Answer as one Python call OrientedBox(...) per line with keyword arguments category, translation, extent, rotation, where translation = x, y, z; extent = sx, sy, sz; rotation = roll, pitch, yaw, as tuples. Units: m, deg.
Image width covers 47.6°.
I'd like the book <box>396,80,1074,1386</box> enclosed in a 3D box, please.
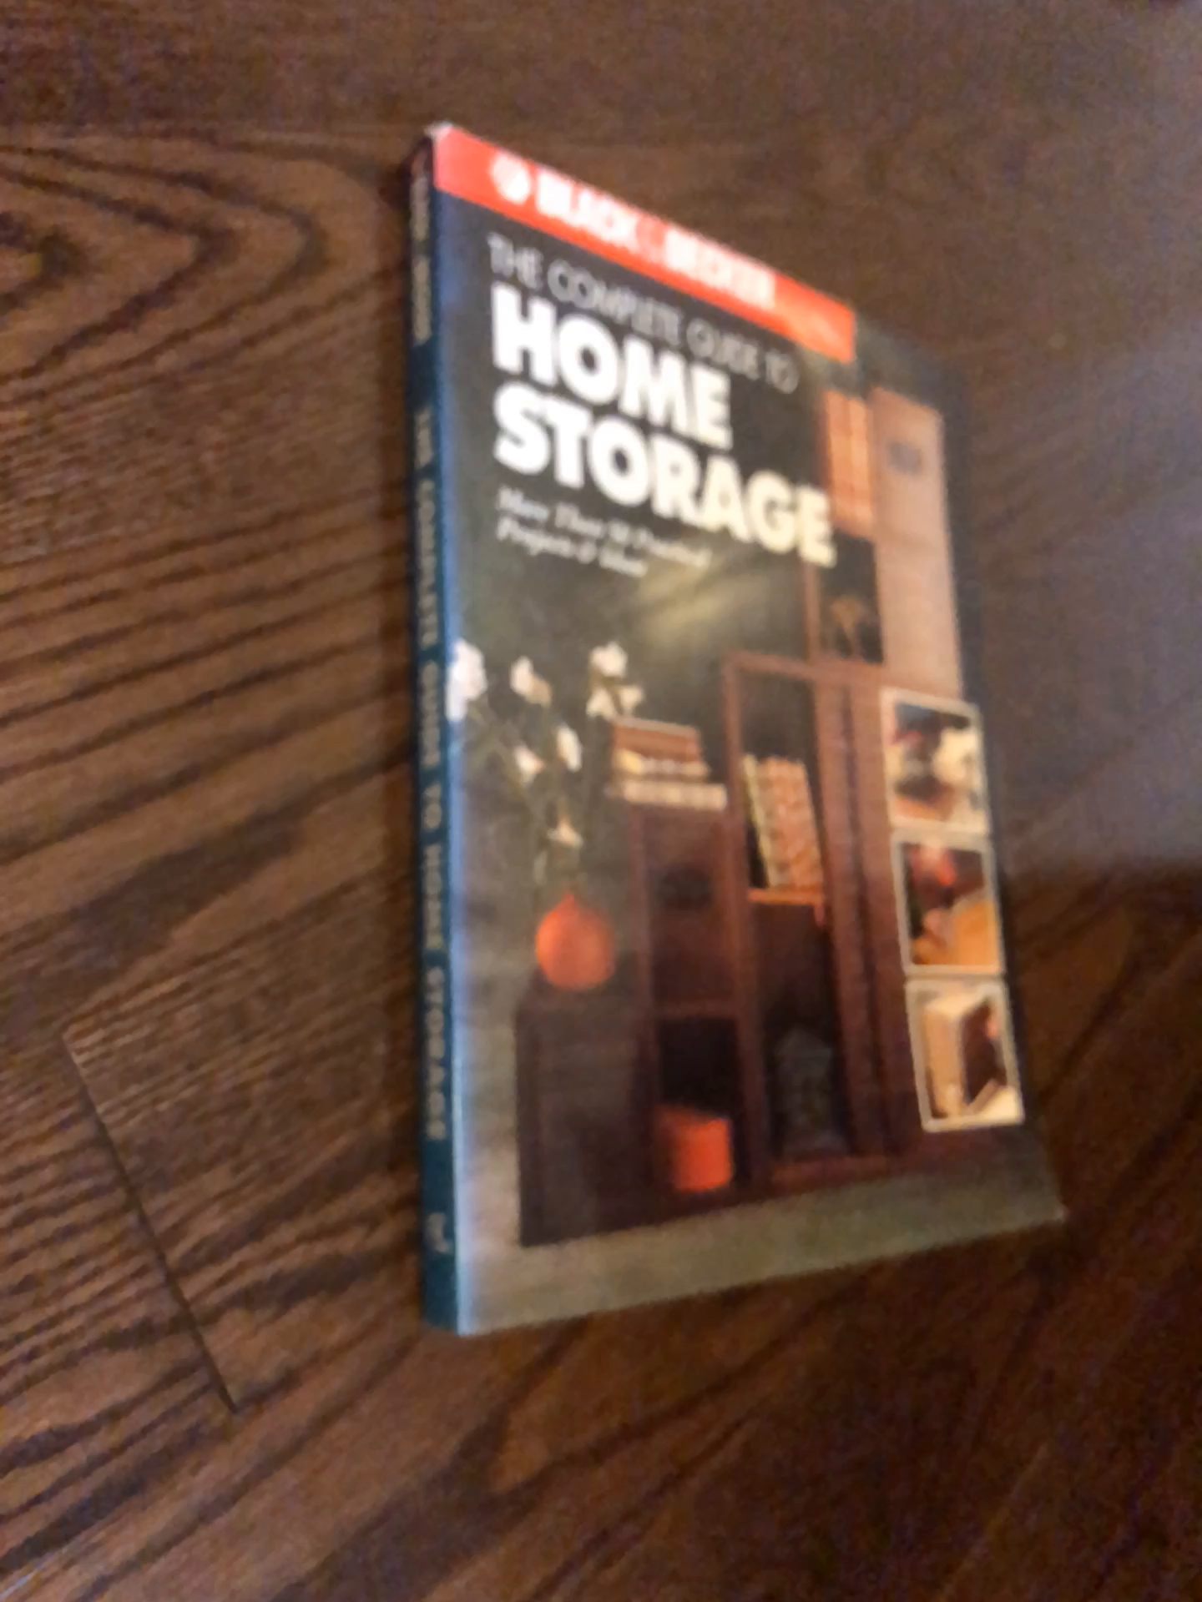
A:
OrientedBox(category="book", translation=(0.045, -0.016, 0.367), extent=(0.216, 0.020, 0.287), rotation=(7, 76, -40))
